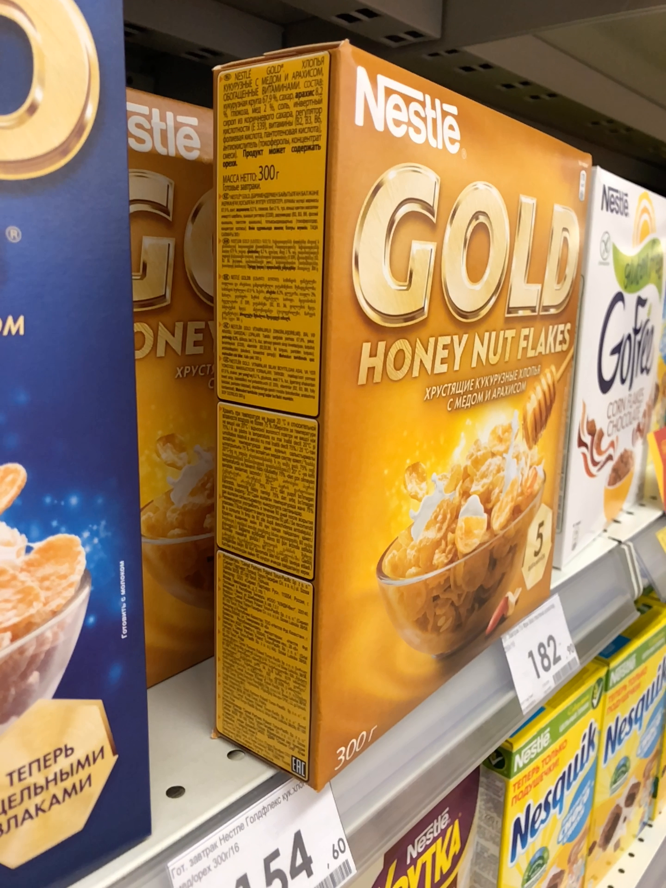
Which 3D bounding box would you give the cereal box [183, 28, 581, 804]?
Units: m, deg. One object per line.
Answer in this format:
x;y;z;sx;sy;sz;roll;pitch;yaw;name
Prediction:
0.032;-0.015;0.295;0.050;0.219;0.191;10;14;36;cereal box
